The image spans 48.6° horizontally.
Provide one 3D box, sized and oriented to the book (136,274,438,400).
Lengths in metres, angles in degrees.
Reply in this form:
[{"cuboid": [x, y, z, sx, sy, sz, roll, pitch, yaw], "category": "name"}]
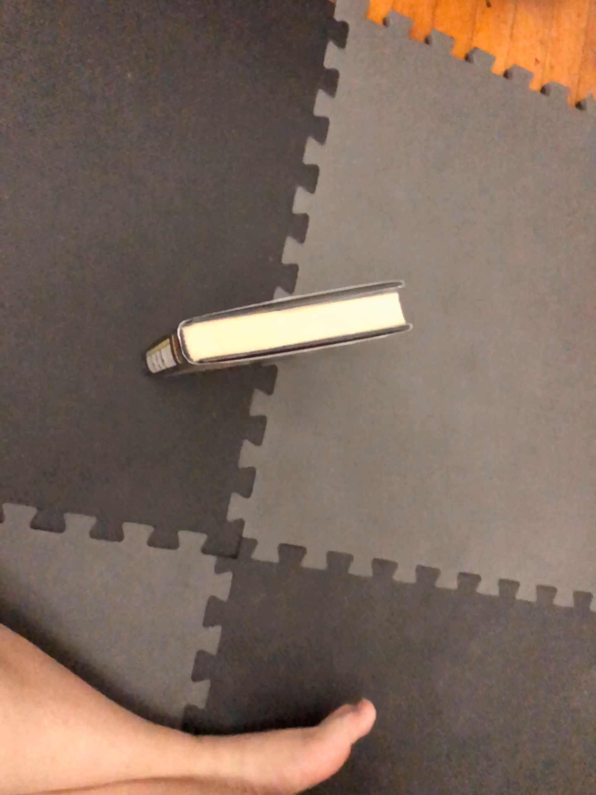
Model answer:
[{"cuboid": [-0.031, -0.045, 0.558, 0.180, 0.260, 0.050, -13, 95, -18], "category": "book"}]
